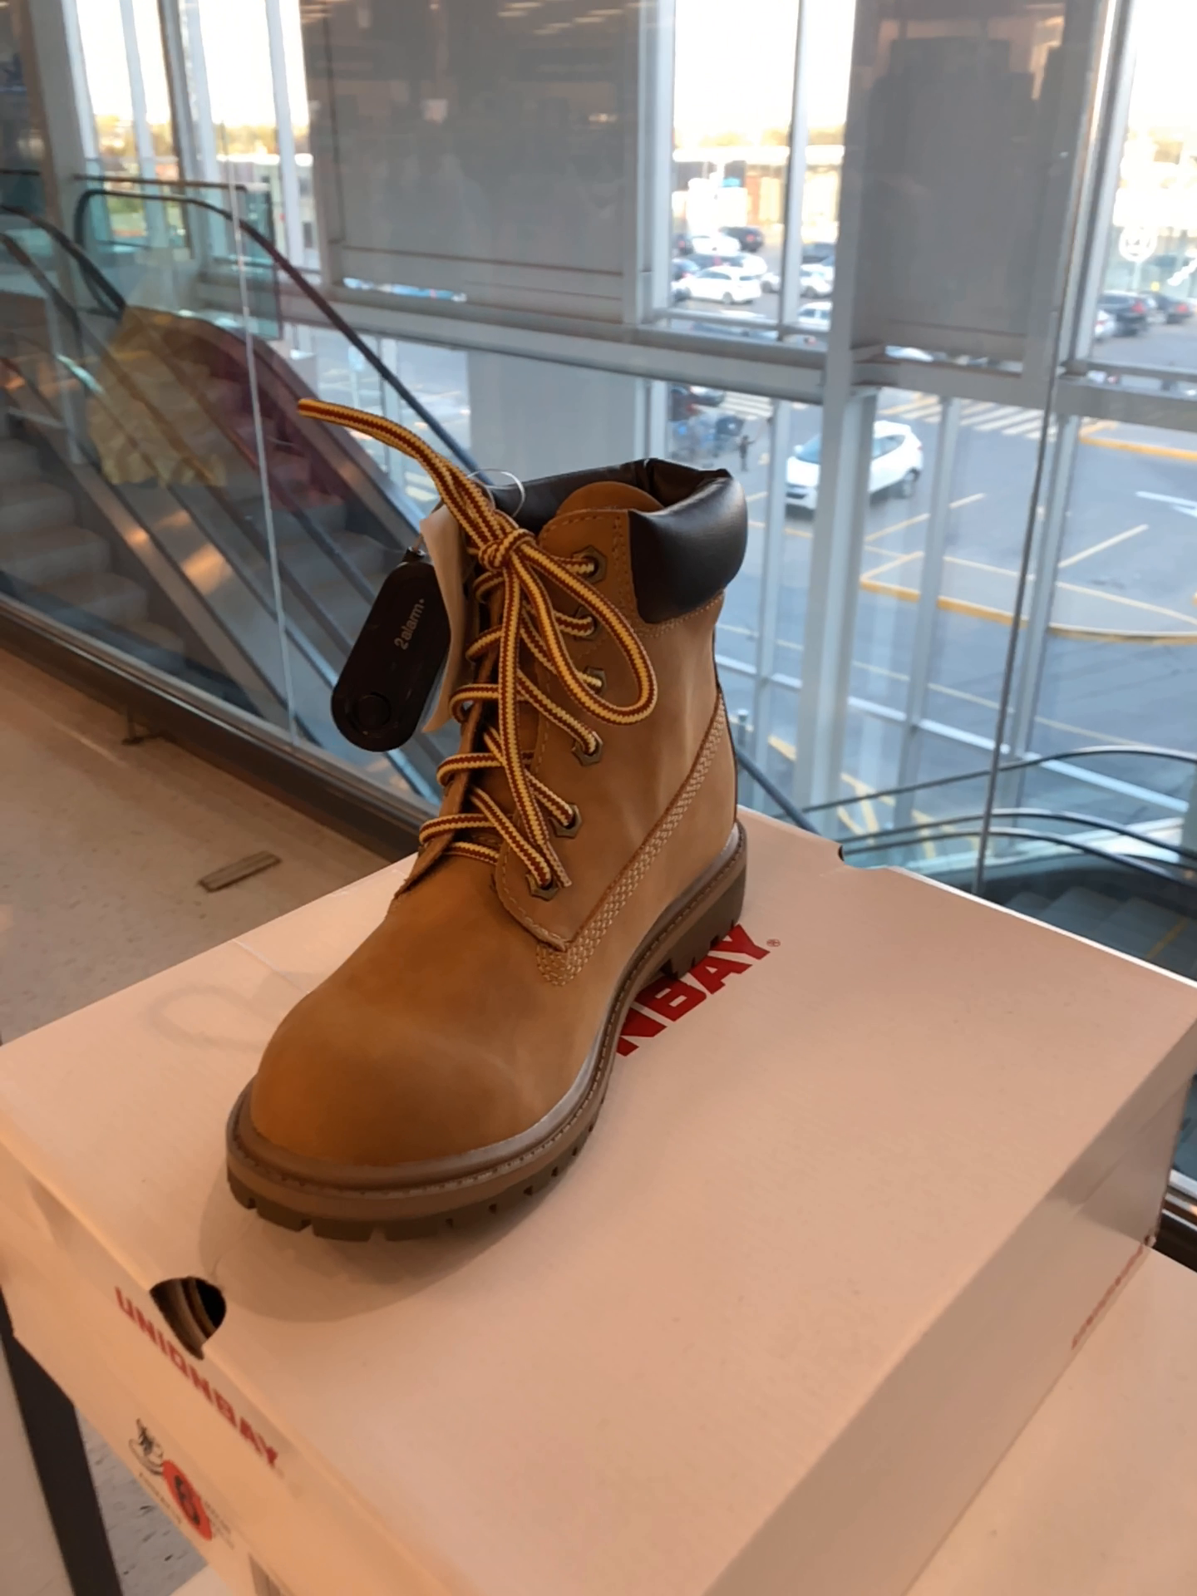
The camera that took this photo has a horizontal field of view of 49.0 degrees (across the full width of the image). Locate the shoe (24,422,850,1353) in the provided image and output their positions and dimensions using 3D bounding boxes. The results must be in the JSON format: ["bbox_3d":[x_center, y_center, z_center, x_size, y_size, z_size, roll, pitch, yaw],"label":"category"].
[{"bbox_3d":[-0.022,-0.001,0.398,0.107,0.169,0.241,14,30,25],"label":"shoe"}]
